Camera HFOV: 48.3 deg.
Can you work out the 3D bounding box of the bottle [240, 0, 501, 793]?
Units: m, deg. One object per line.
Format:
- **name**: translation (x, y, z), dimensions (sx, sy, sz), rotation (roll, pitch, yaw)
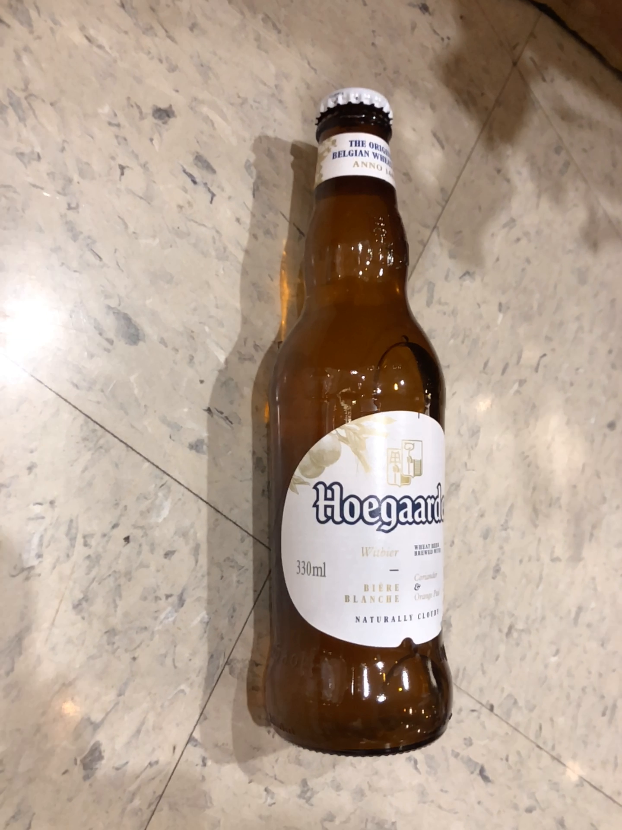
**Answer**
- **bottle**: translation (0.020, -0.009, 0.239), dimensions (0.070, 0.050, 0.230), rotation (5, 82, -39)
